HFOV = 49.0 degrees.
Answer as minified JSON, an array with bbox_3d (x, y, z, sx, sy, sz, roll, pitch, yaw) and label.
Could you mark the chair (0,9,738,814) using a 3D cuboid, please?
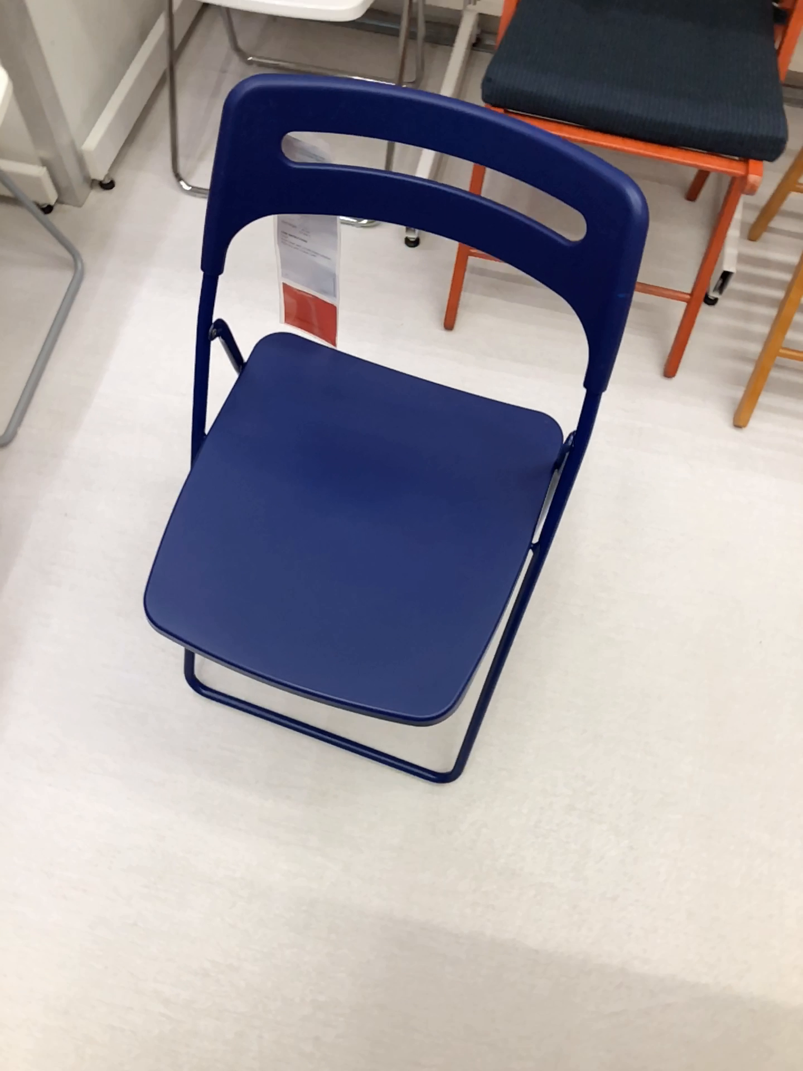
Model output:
[{"bbox_3d":[-0.017,-0.060,1.010,0.460,0.698,0.501,19,65,7],"label":"chair"}]
